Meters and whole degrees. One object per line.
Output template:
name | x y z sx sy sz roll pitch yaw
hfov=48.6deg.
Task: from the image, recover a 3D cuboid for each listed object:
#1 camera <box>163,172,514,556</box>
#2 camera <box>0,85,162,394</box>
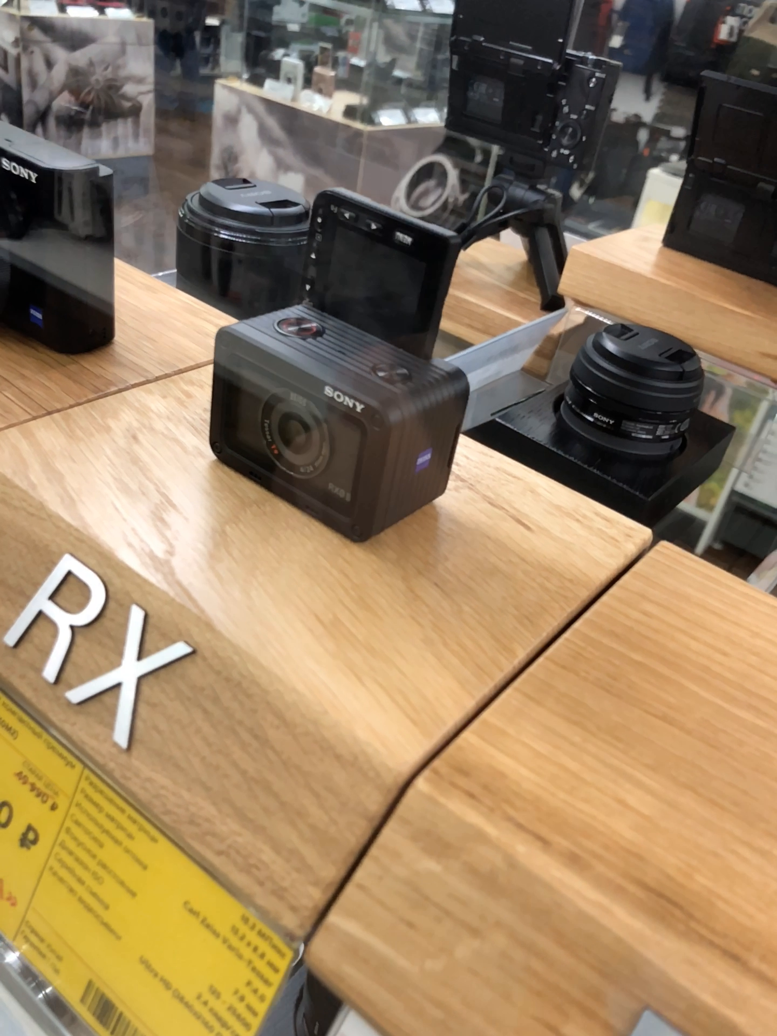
camera | -0.016 -0.042 0.216 0.062 0.067 0.050 30 38 26
camera | -0.128 -0.098 0.291 0.105 0.067 0.041 30 38 26
